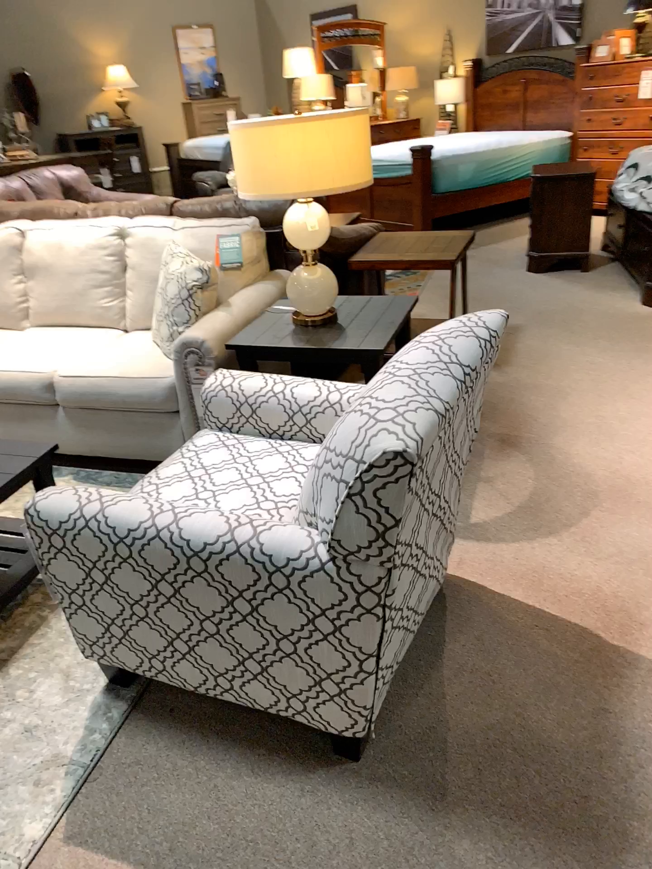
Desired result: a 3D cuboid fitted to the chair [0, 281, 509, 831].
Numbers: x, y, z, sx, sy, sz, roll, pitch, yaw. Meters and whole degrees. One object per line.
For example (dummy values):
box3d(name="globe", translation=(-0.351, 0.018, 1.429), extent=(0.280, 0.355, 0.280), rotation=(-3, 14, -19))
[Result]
box3d(name="chair", translation=(-0.126, 0.163, 1.678), extent=(0.965, 0.846, 0.878), rotation=(7, 30, 24))
